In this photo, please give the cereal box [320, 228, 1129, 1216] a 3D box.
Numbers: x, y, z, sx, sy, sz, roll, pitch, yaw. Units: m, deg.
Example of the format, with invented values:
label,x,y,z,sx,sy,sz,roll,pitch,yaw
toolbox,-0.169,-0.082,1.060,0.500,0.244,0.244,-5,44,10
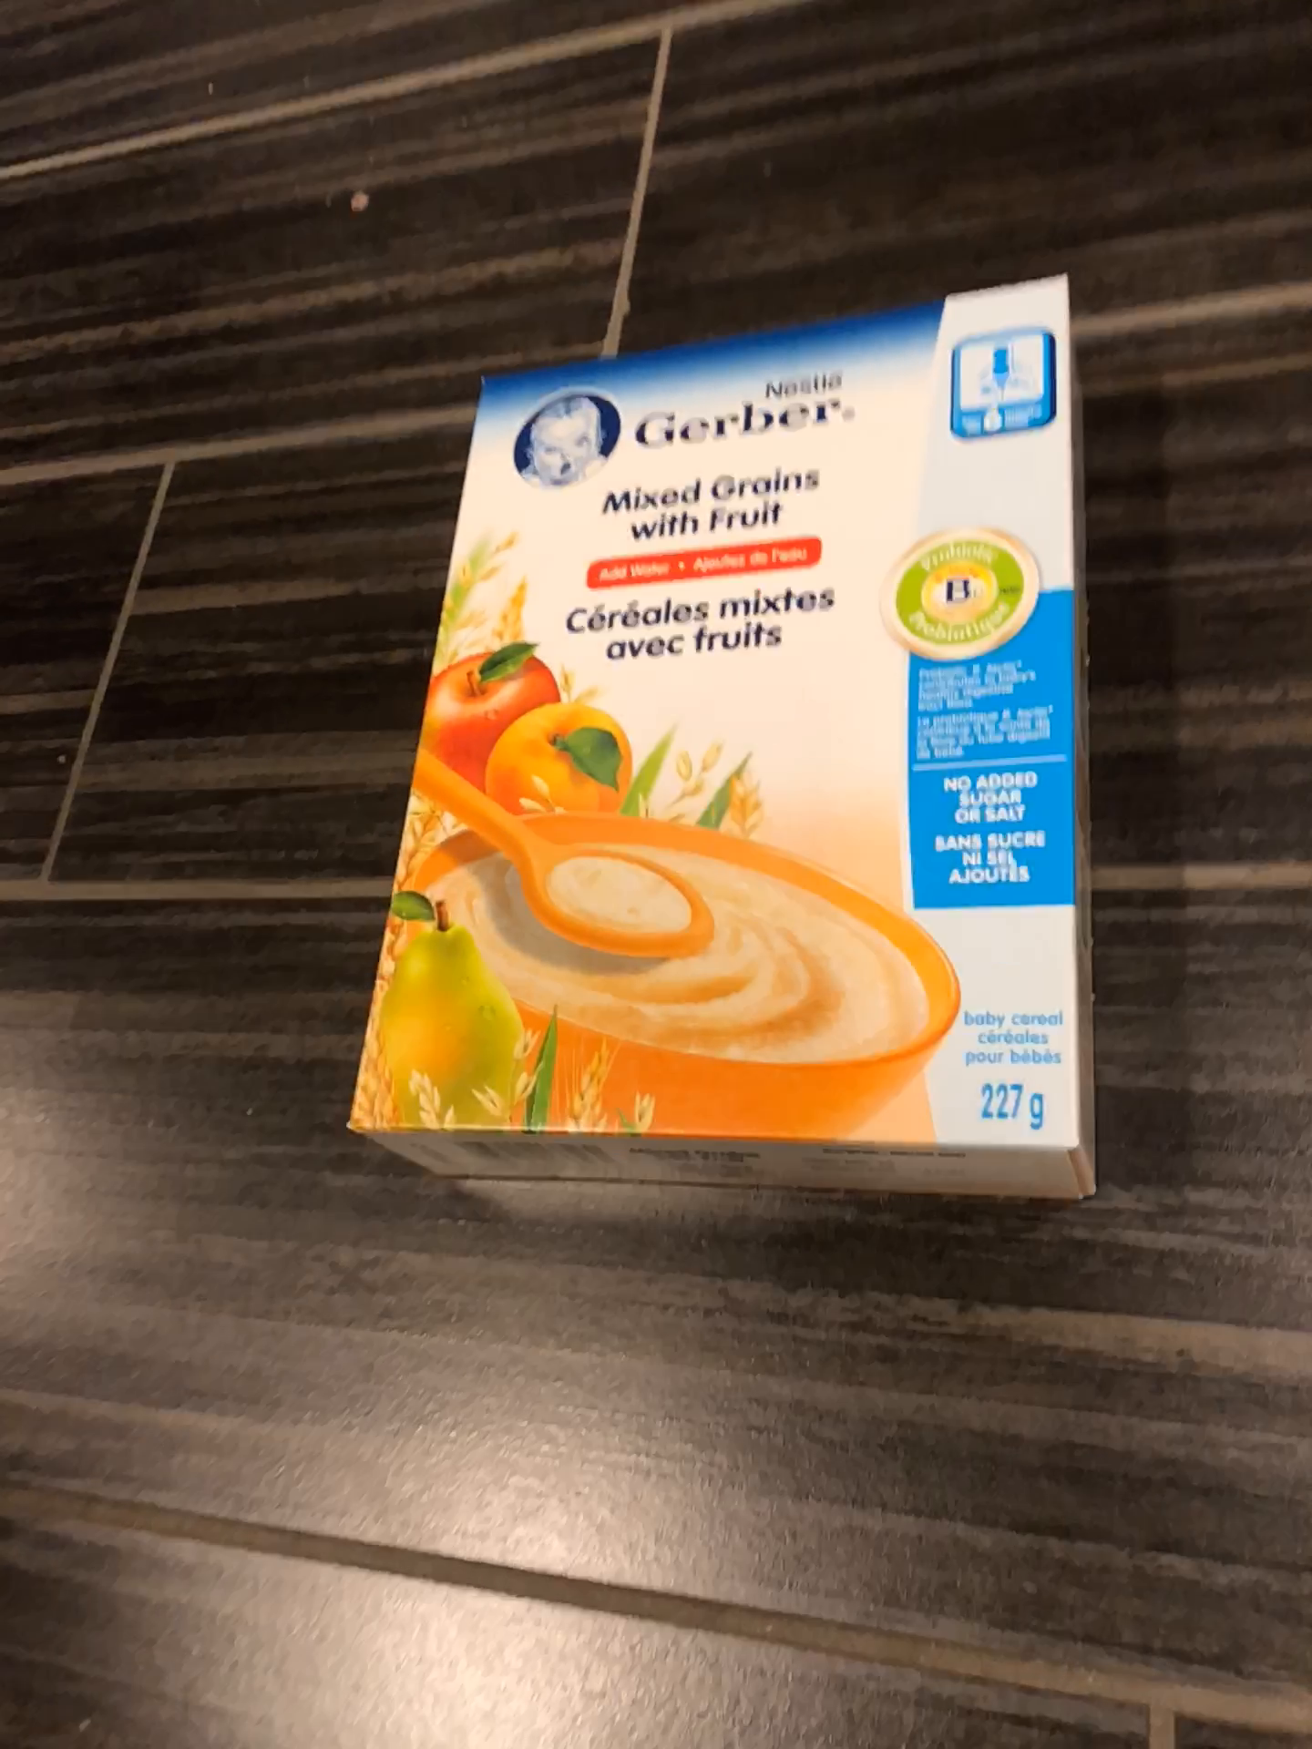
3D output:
label,x,y,z,sx,sy,sz,roll,pitch,yaw
cereal box,0.022,-0.033,0.321,0.150,0.050,0.200,-2,67,19
